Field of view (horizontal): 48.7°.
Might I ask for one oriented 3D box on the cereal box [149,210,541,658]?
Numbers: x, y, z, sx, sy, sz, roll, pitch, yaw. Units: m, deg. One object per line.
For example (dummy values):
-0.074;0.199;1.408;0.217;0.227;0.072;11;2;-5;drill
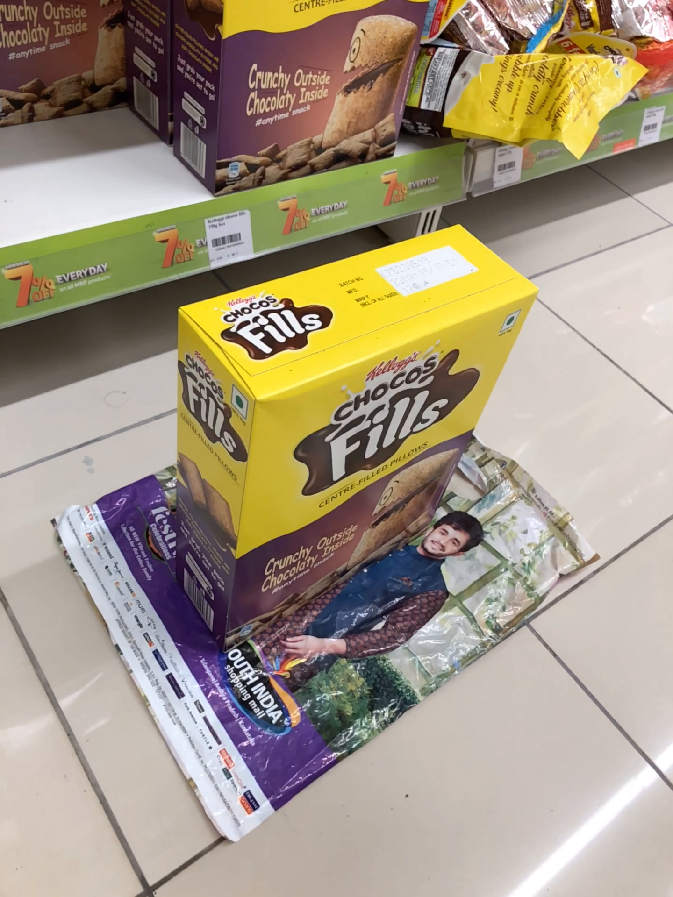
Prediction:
-0.007;-0.002;0.444;0.191;0.228;0.070;-26;60;-31;cereal box
